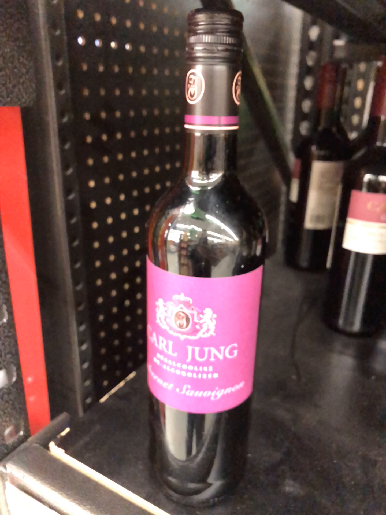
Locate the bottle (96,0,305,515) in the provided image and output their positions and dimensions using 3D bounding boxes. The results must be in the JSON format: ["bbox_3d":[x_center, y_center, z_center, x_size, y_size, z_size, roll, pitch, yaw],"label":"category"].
[{"bbox_3d":[0.007,0.016,0.264,0.080,0.288,0.080,1,21,0],"label":"bottle"}]
